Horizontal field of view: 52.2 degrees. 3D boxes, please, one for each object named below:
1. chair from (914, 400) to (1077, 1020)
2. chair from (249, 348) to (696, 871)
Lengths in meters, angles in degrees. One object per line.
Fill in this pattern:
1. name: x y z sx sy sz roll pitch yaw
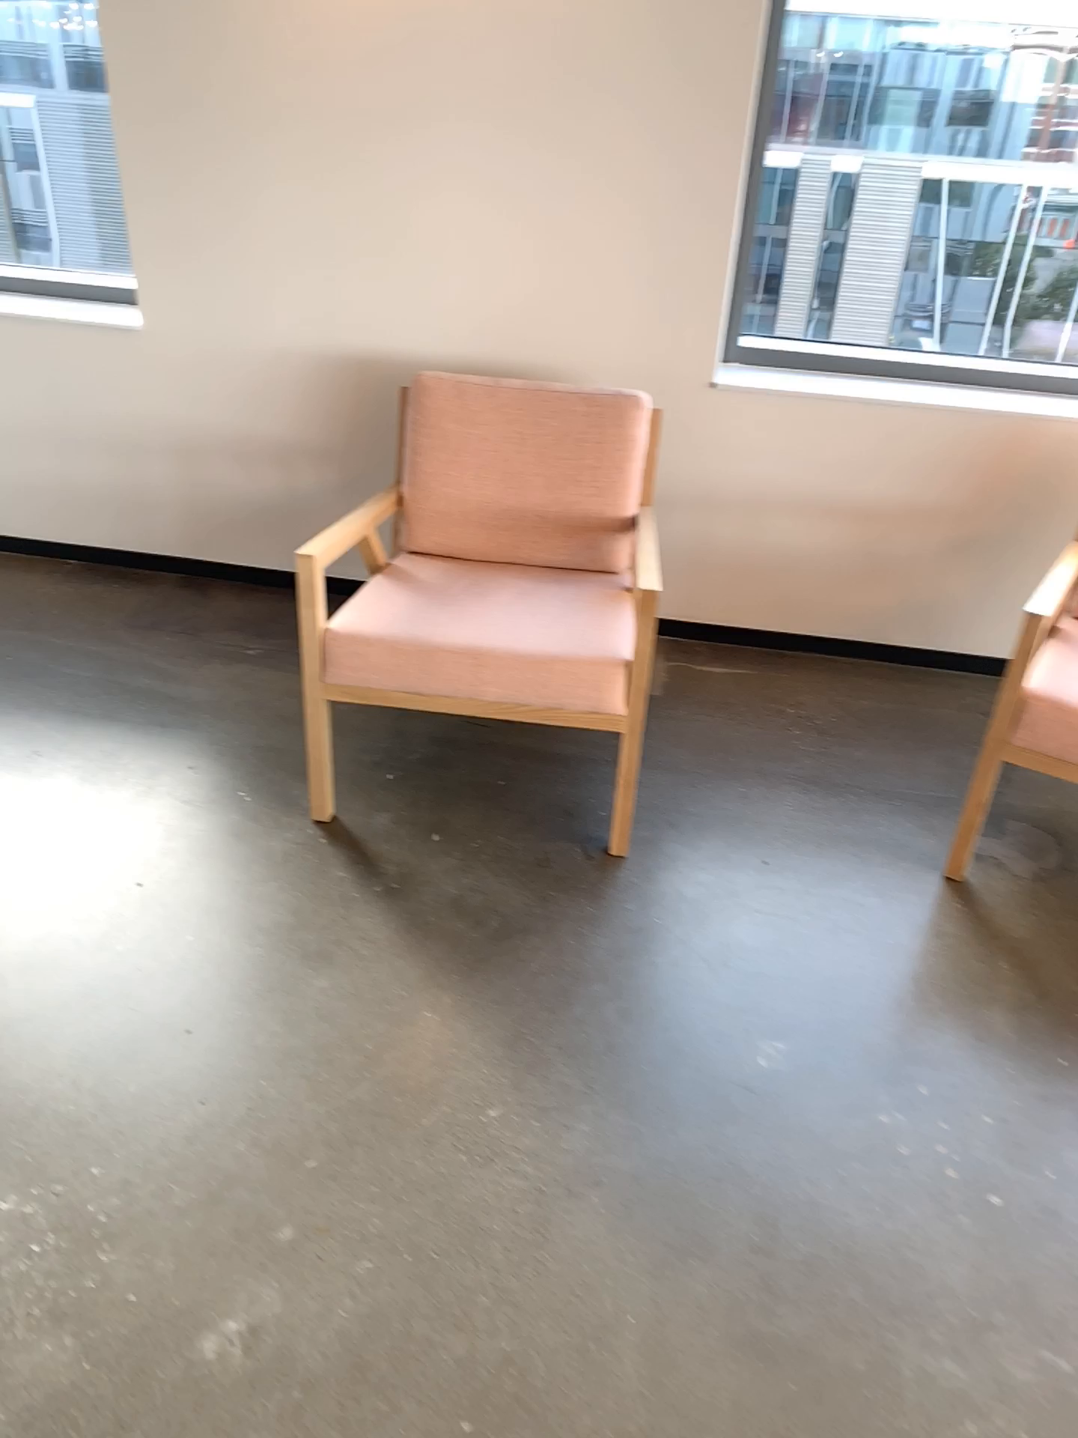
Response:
1. chair: 1.300 -0.085 2.181 0.741 0.796 0.773 19 34 24
2. chair: -0.094 -0.275 2.398 0.740 0.796 0.774 7 32 6
